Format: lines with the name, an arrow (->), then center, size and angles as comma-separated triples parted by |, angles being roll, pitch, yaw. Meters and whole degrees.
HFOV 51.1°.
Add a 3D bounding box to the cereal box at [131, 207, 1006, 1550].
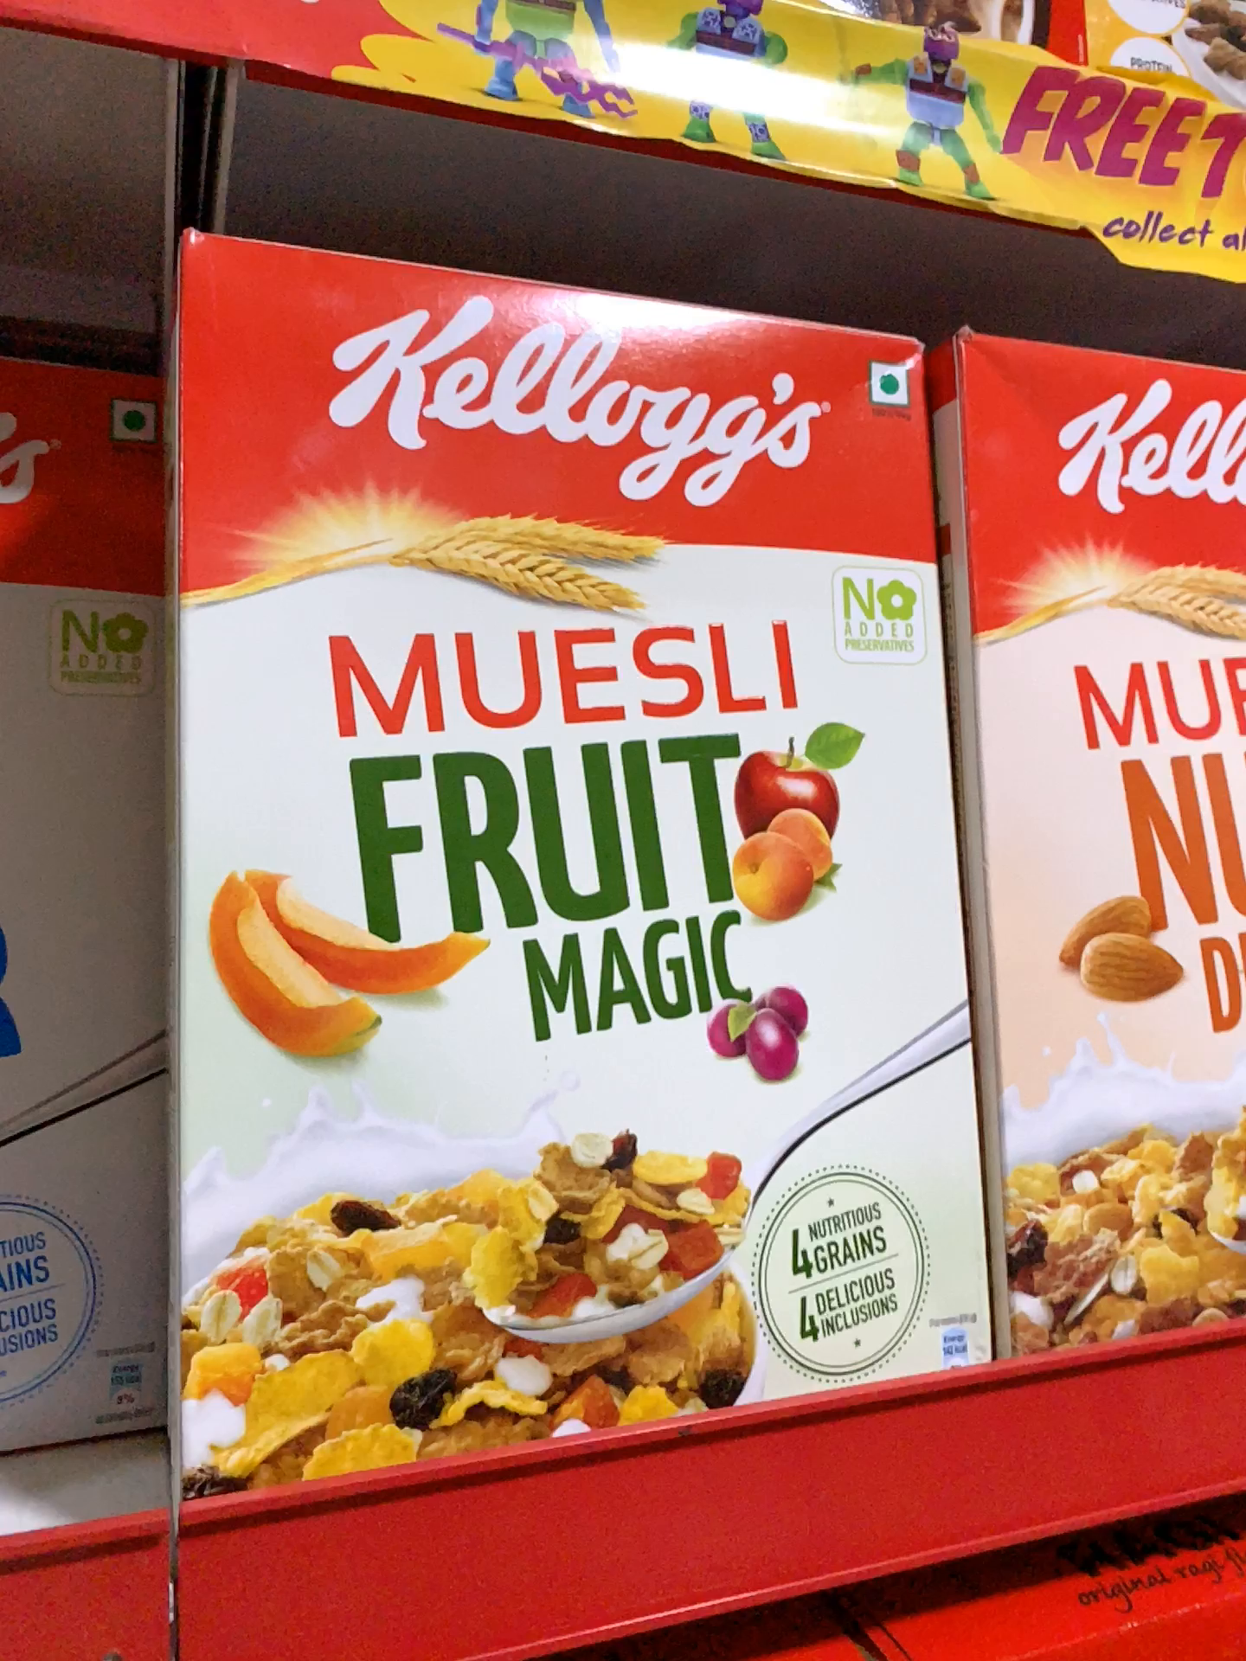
cereal box -> -0.013, 0.005, 0.295 | 0.180, 0.241, 0.060 | 0, -6, -23
